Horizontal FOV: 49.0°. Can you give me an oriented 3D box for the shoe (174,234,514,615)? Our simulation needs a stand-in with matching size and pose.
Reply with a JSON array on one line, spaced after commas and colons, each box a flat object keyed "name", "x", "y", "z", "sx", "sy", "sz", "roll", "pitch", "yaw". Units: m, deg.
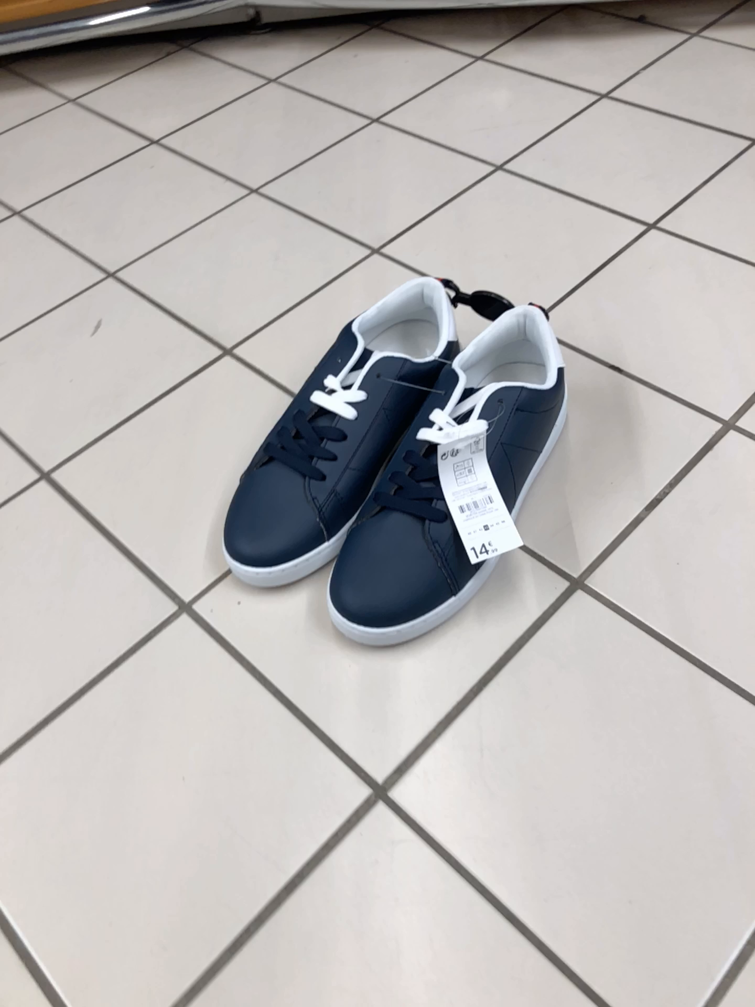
[{"name": "shoe", "x": -0.008, "y": -0.073, "z": 0.627, "sx": 0.100, "sy": 0.100, "sz": 0.291, "roll": 23, "pitch": 57, "yaw": 24}]

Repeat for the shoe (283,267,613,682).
[{"name": "shoe", "x": 0.064, "y": -0.035, "z": 0.590, "sx": 0.100, "sy": 0.100, "sz": 0.291, "roll": 21, "pitch": 56, "yaw": 22}]
